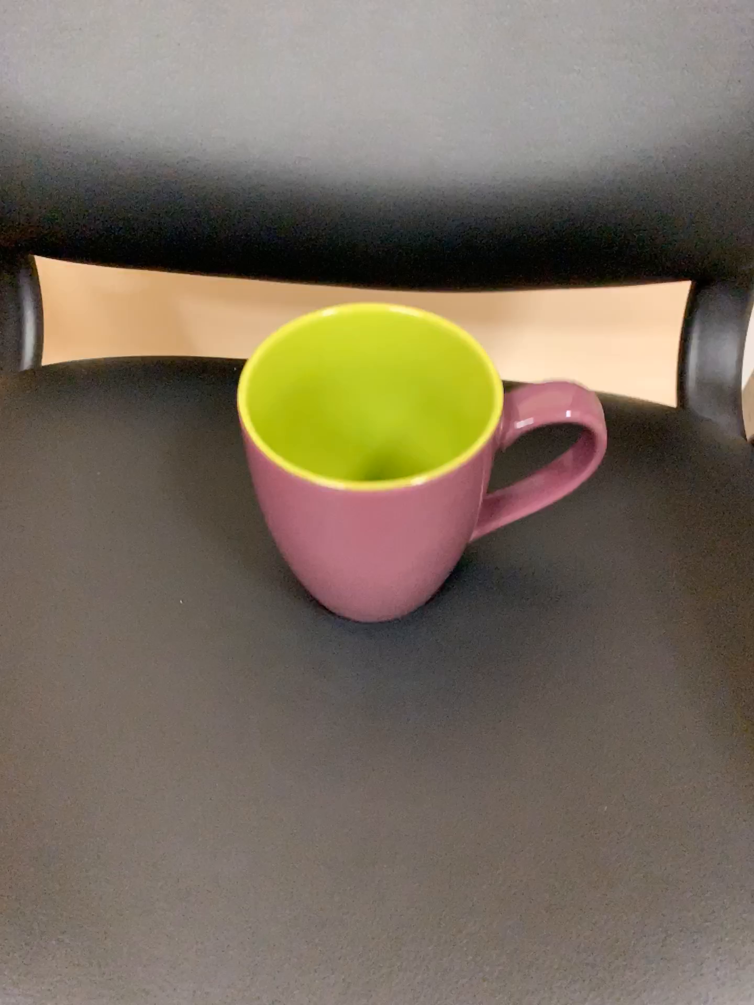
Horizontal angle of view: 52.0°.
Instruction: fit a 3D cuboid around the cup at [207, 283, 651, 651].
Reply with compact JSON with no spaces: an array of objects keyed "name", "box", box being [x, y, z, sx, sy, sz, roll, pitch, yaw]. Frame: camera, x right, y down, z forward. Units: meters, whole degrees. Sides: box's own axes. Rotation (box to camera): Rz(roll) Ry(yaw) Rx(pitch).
[{"name":"cup","box":[0.013,-0.011,0.317,0.143,0.109,0.090,-5,54,-4]}]
